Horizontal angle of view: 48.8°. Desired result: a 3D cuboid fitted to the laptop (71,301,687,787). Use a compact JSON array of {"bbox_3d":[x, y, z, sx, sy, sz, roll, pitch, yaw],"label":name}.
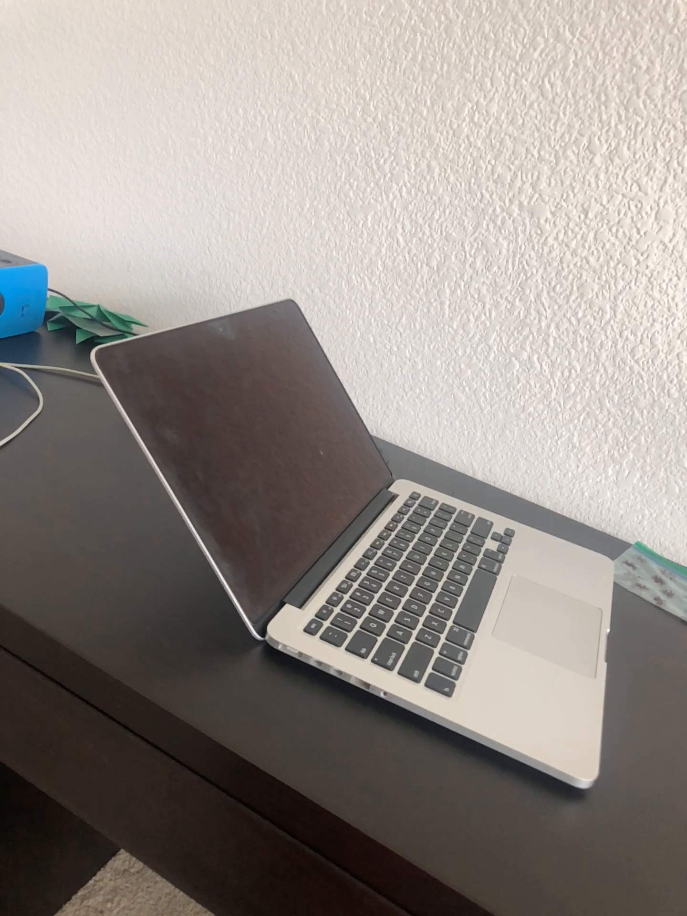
[{"bbox_3d":[0.046,0.015,0.584,0.362,0.133,0.310,21,24,15],"label":"laptop"}]
